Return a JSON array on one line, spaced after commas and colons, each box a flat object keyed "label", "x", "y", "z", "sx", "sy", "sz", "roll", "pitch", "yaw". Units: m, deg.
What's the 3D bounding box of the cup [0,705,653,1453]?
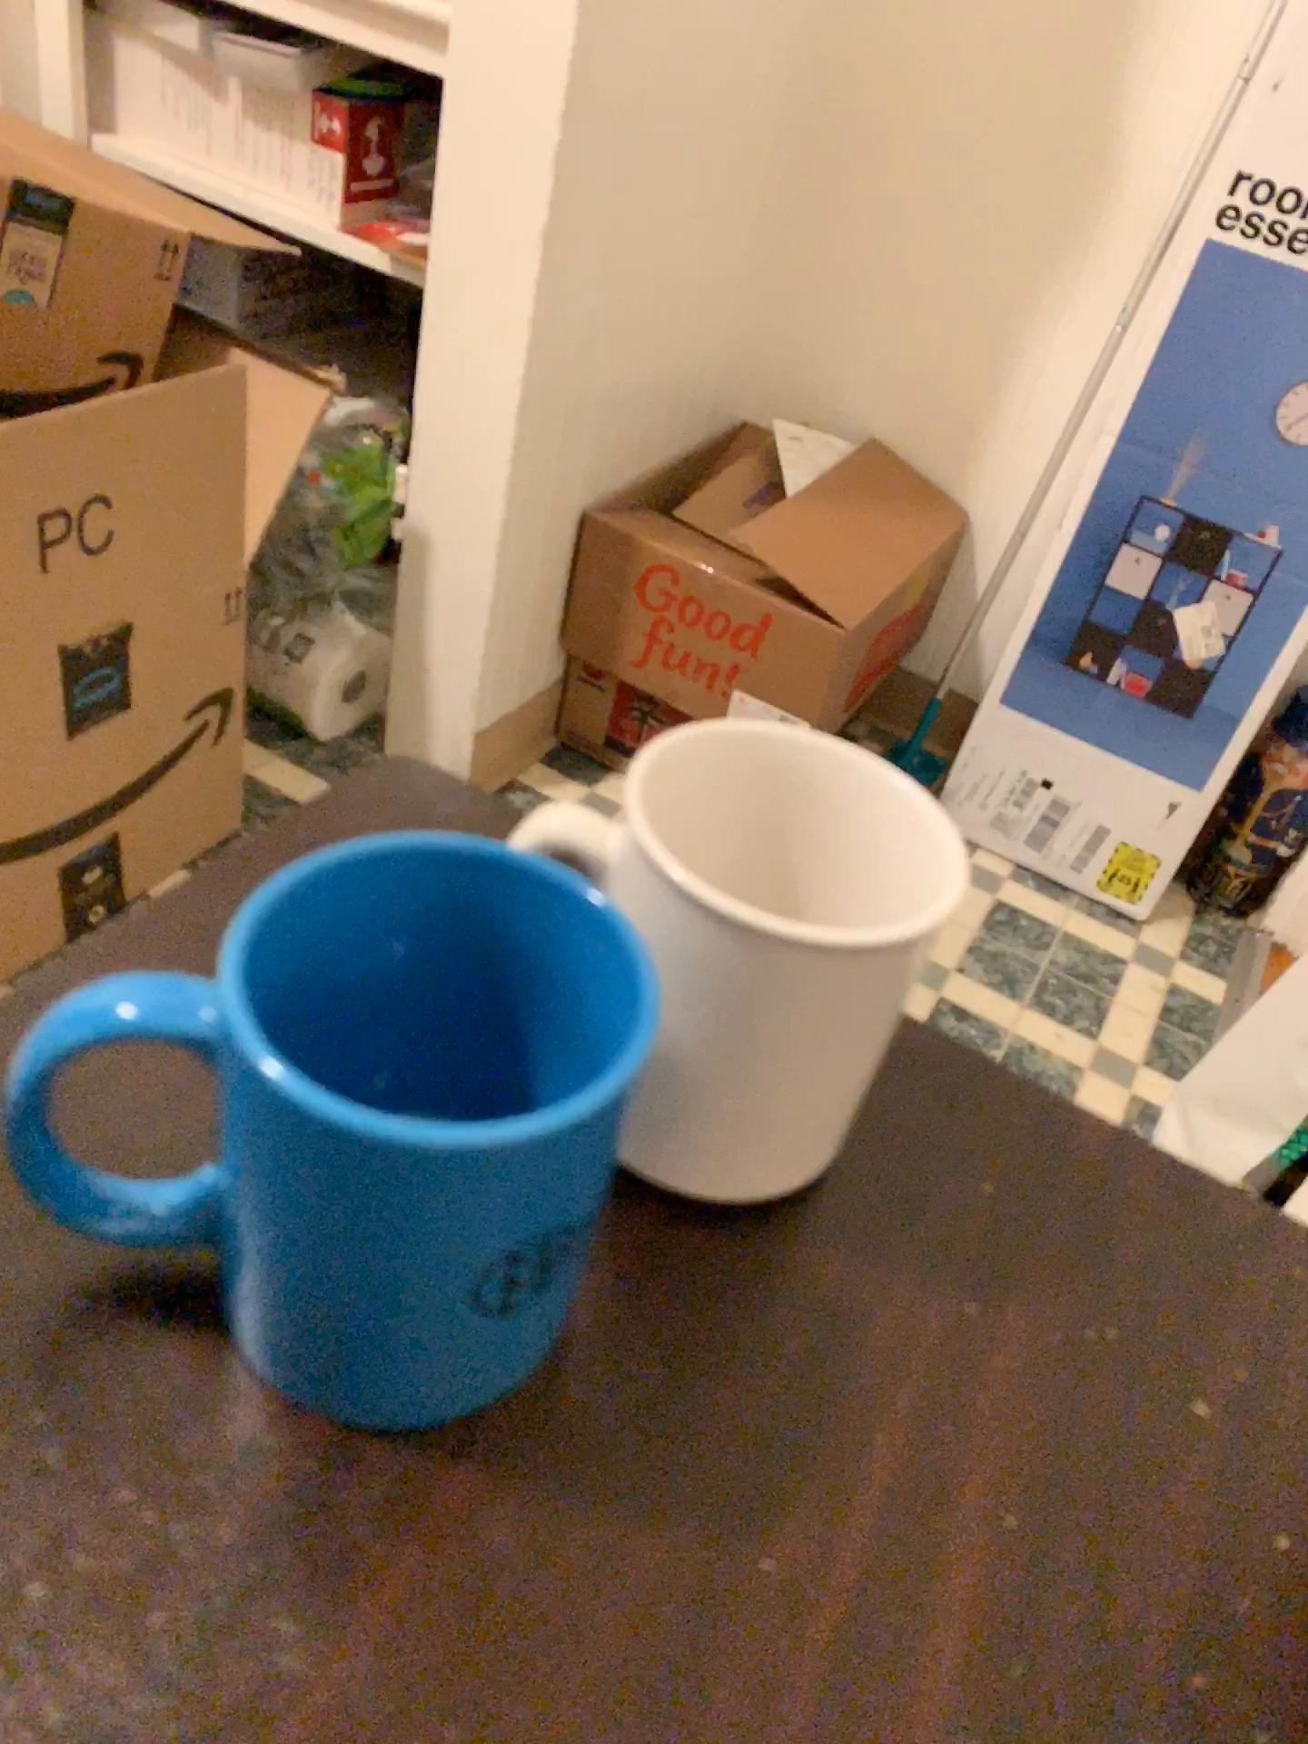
[{"label": "cup", "x": -0.082, "y": 0.043, "z": 0.260, "sx": 0.140, "sy": 0.099, "sz": 0.091, "roll": 7, "pitch": 39, "yaw": -11}]

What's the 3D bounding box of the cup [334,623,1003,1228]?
[{"label": "cup", "x": -0.004, "y": 0.015, "z": 0.328, "sx": 0.130, "sy": 0.099, "sz": 0.091, "roll": 8, "pitch": 38, "yaw": -9}]
